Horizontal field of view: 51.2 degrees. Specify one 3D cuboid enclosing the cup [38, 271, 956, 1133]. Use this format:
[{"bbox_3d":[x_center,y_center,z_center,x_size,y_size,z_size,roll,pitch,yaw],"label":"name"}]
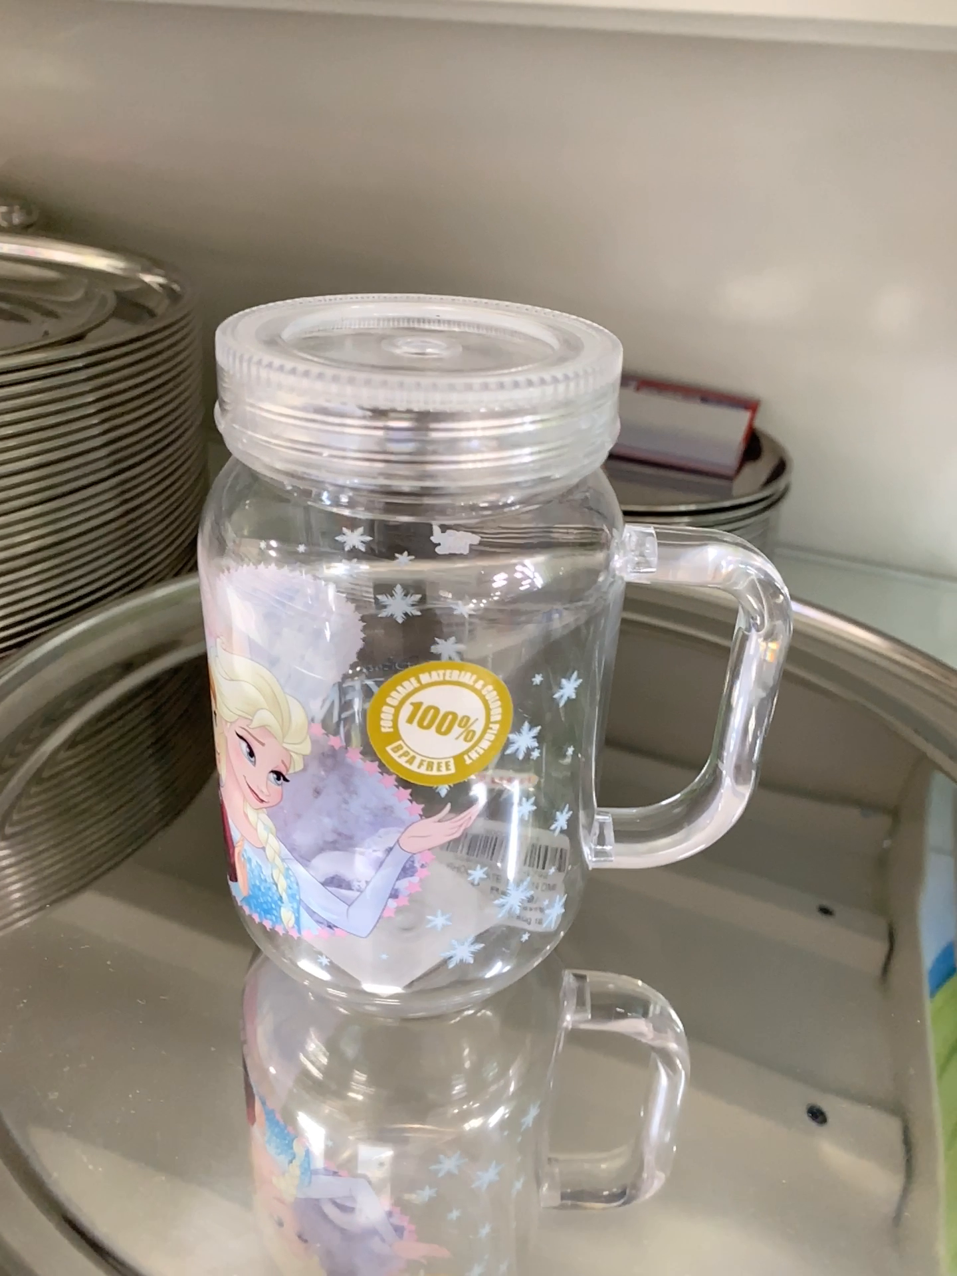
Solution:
[{"bbox_3d":[0.001,0.009,0.188,0.120,0.129,0.071,7,28,5],"label":"cup"}]
